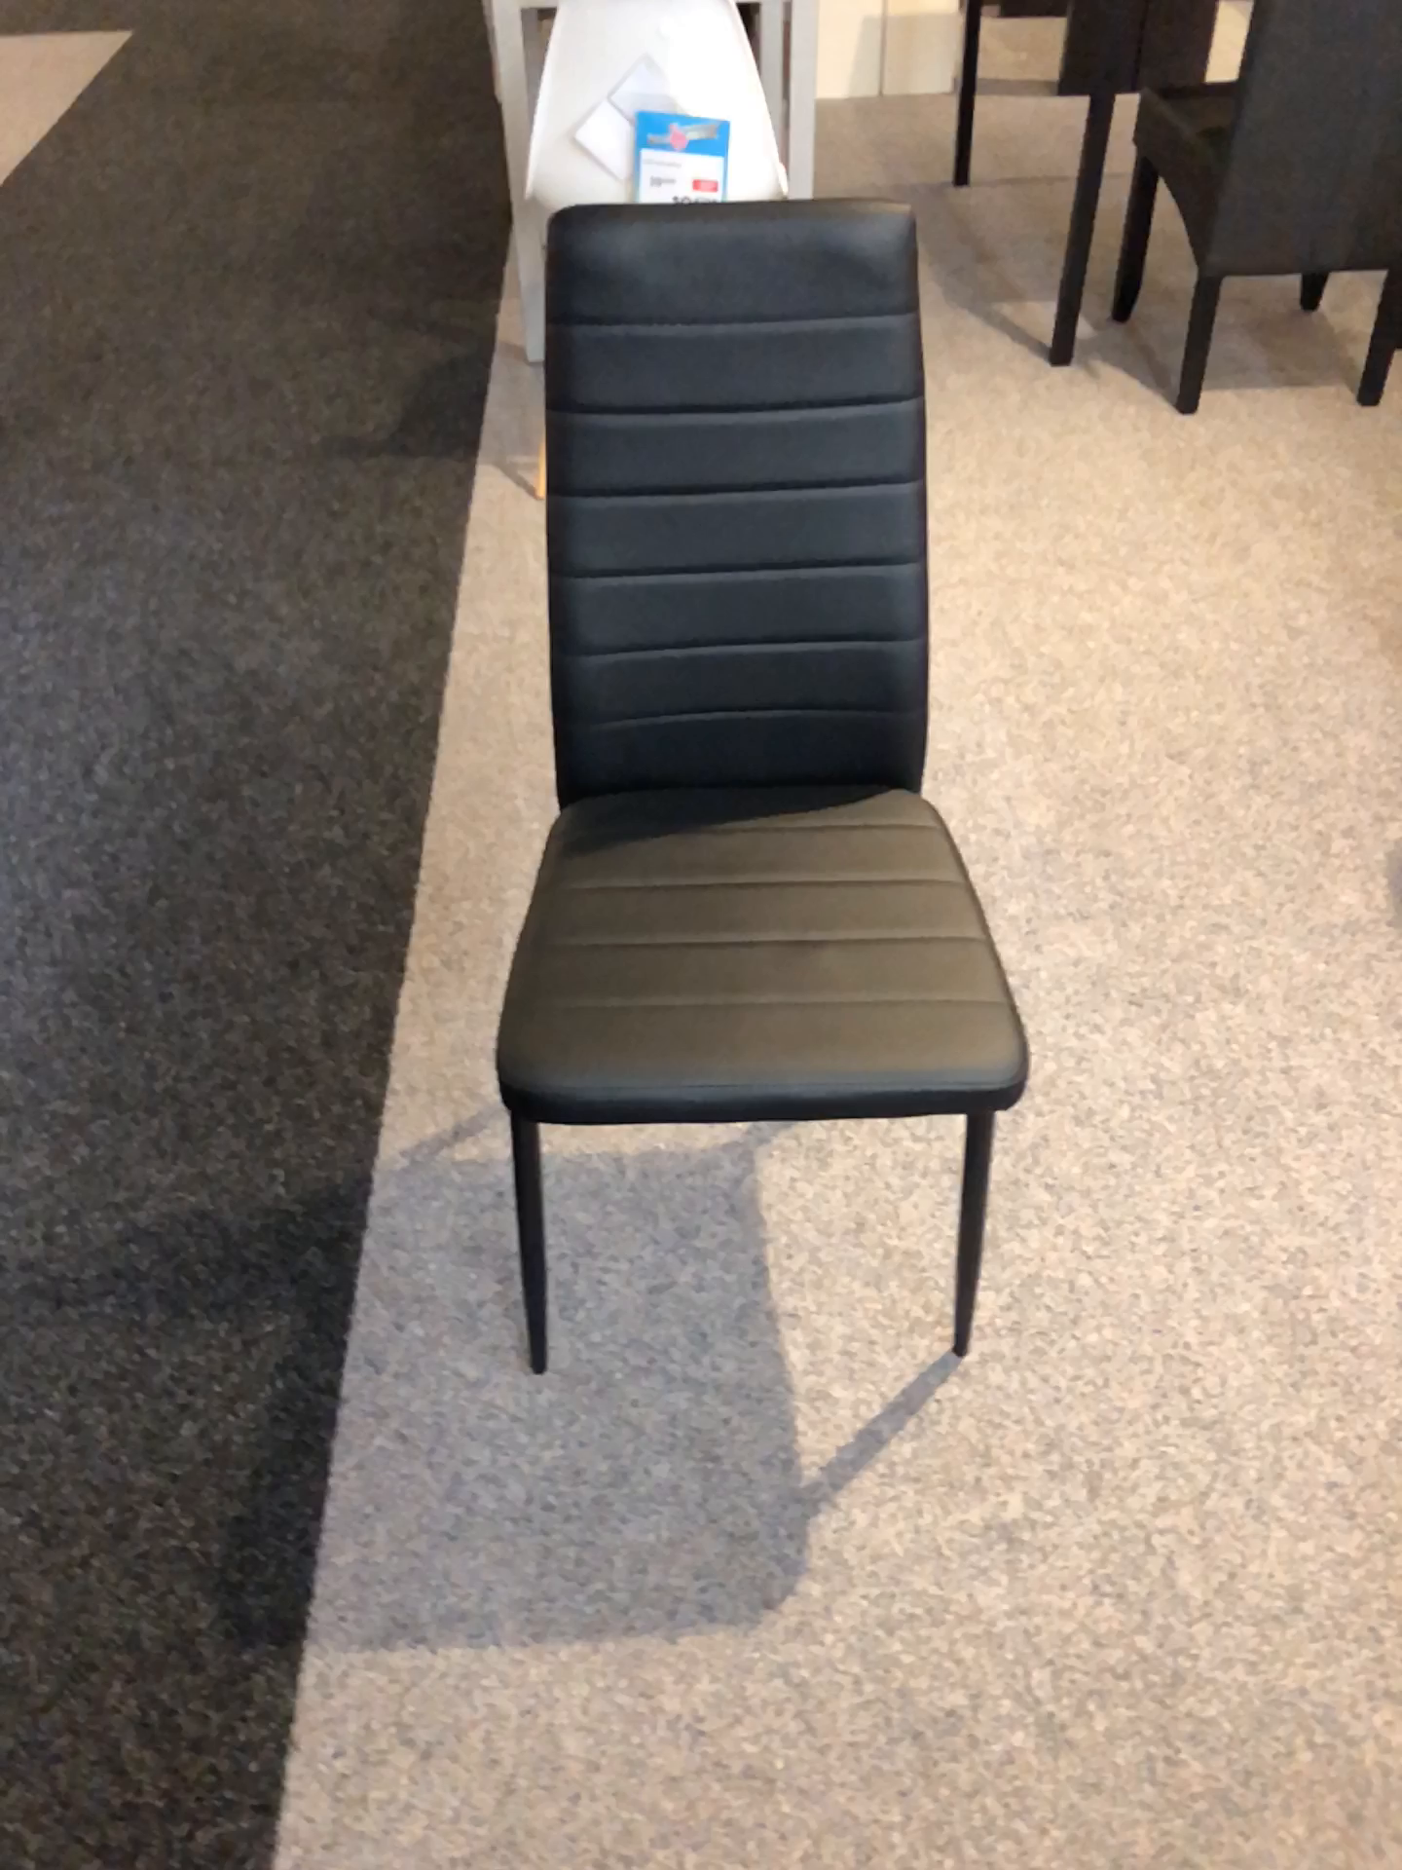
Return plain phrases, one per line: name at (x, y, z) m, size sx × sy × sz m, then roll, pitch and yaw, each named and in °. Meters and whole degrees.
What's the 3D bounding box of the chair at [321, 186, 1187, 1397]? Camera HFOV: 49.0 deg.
chair at (0.035, -0.067, 1.325) m, size 0.470 × 0.935 × 0.473 m, roll -1°, pitch 43°, yaw 0°
